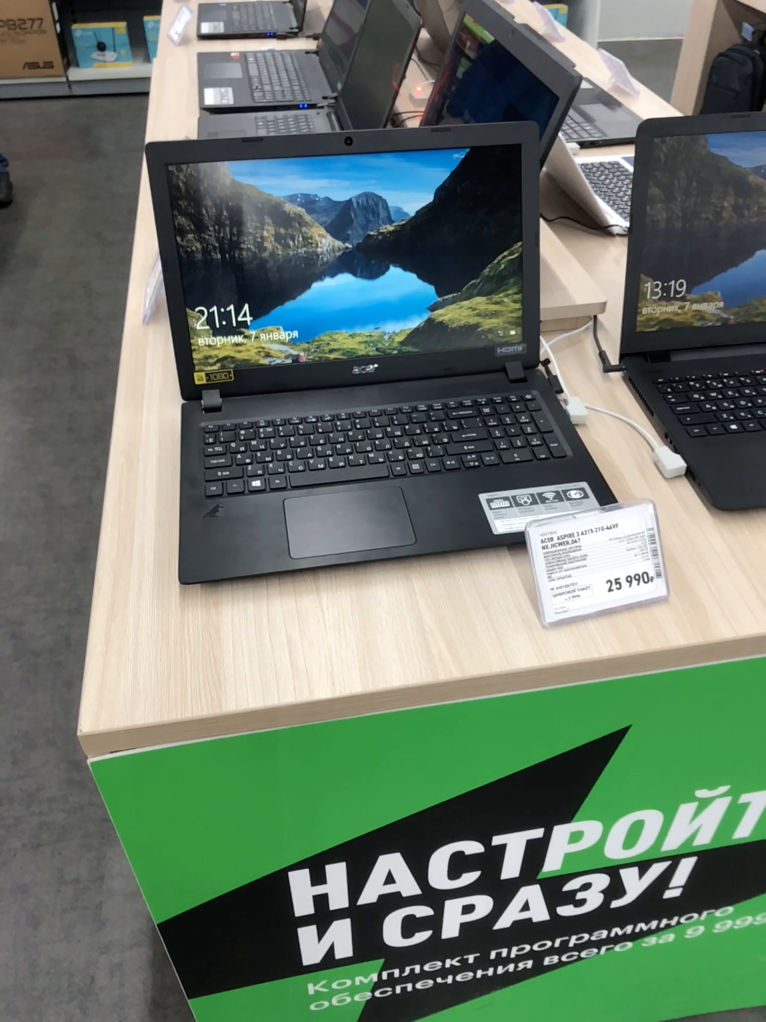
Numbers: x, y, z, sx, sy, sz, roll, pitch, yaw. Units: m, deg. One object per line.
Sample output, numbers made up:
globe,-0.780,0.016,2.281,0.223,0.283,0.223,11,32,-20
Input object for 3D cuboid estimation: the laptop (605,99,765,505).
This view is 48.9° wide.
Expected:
laptop,0.462,-0.207,0.794,0.358,0.220,0.296,-7,44,-6

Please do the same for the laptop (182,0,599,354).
laptop,-0.024,-0.431,1.022,0.395,0.250,0.403,-8,42,-6

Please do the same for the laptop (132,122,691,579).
laptop,-0.003,-0.164,0.754,0.374,0.219,0.349,-7,42,-7
